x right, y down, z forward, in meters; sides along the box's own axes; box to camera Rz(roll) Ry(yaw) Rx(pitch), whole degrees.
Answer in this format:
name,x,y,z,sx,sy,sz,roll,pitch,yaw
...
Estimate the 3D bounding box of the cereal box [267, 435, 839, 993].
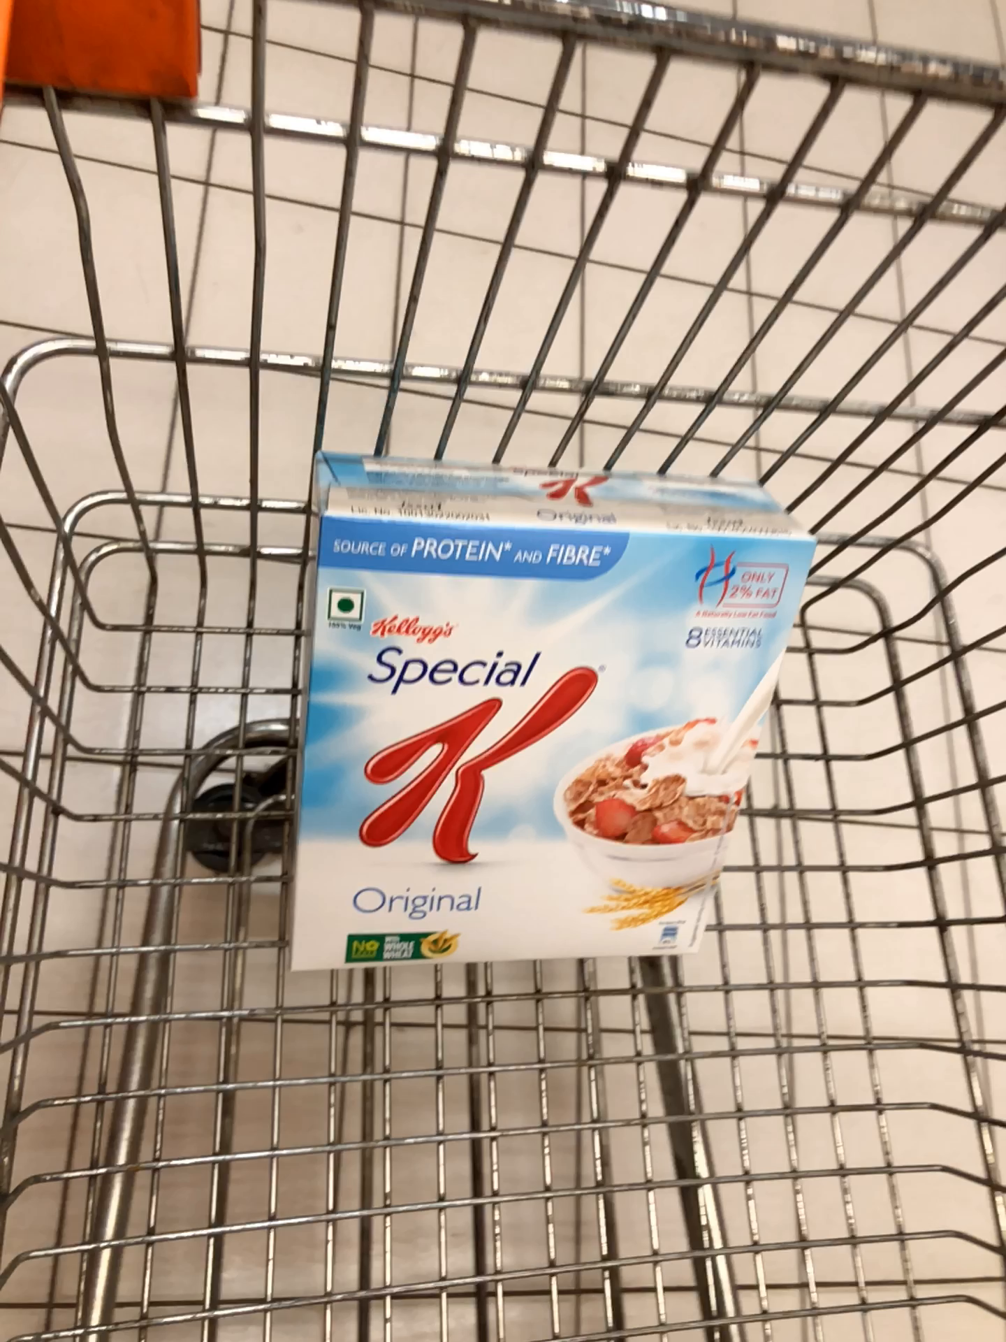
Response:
name,x,y,z,sx,sy,sz,roll,pitch,yaw
cereal box,0.006,0.023,0.455,0.190,0.209,0.070,1,30,-15
